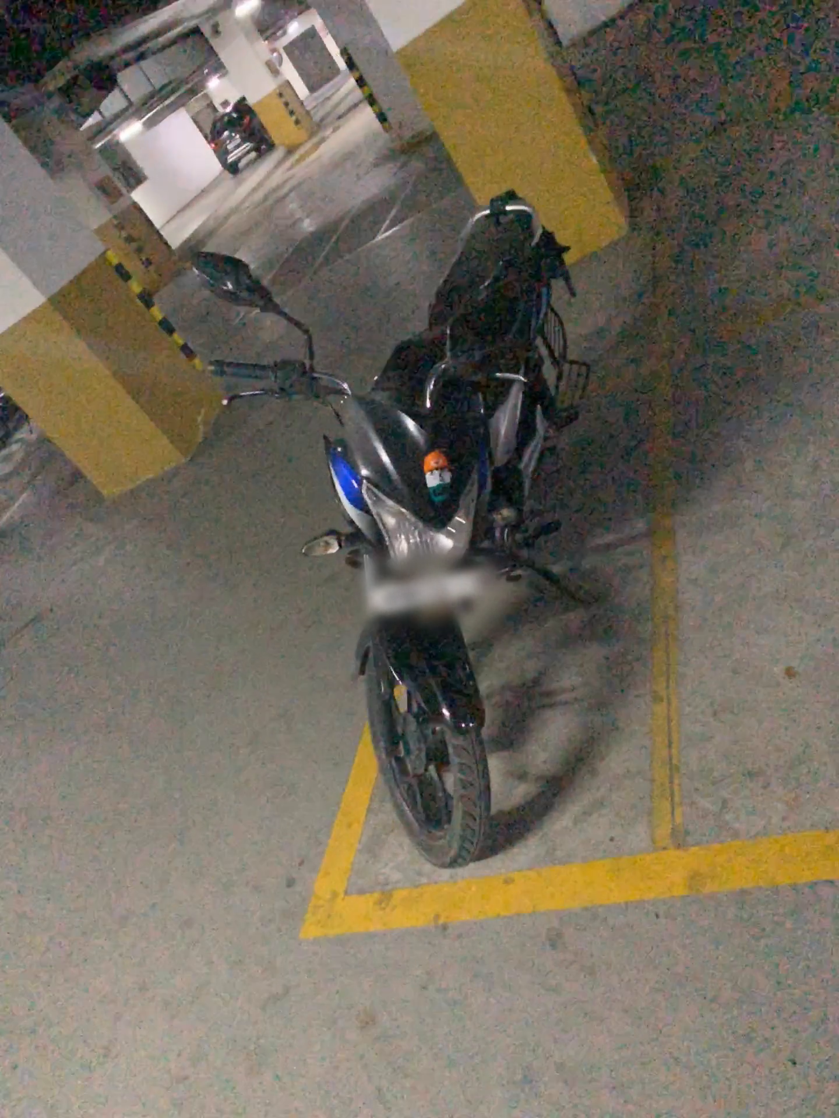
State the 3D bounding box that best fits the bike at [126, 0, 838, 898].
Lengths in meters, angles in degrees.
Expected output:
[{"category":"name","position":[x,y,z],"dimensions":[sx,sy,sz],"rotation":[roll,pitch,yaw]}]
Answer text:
[{"category":"bike","position":[0.379,-0.476,2.244],"dimensions":[0.853,1.204,2.215],"rotation":[-21,32,26]}]
